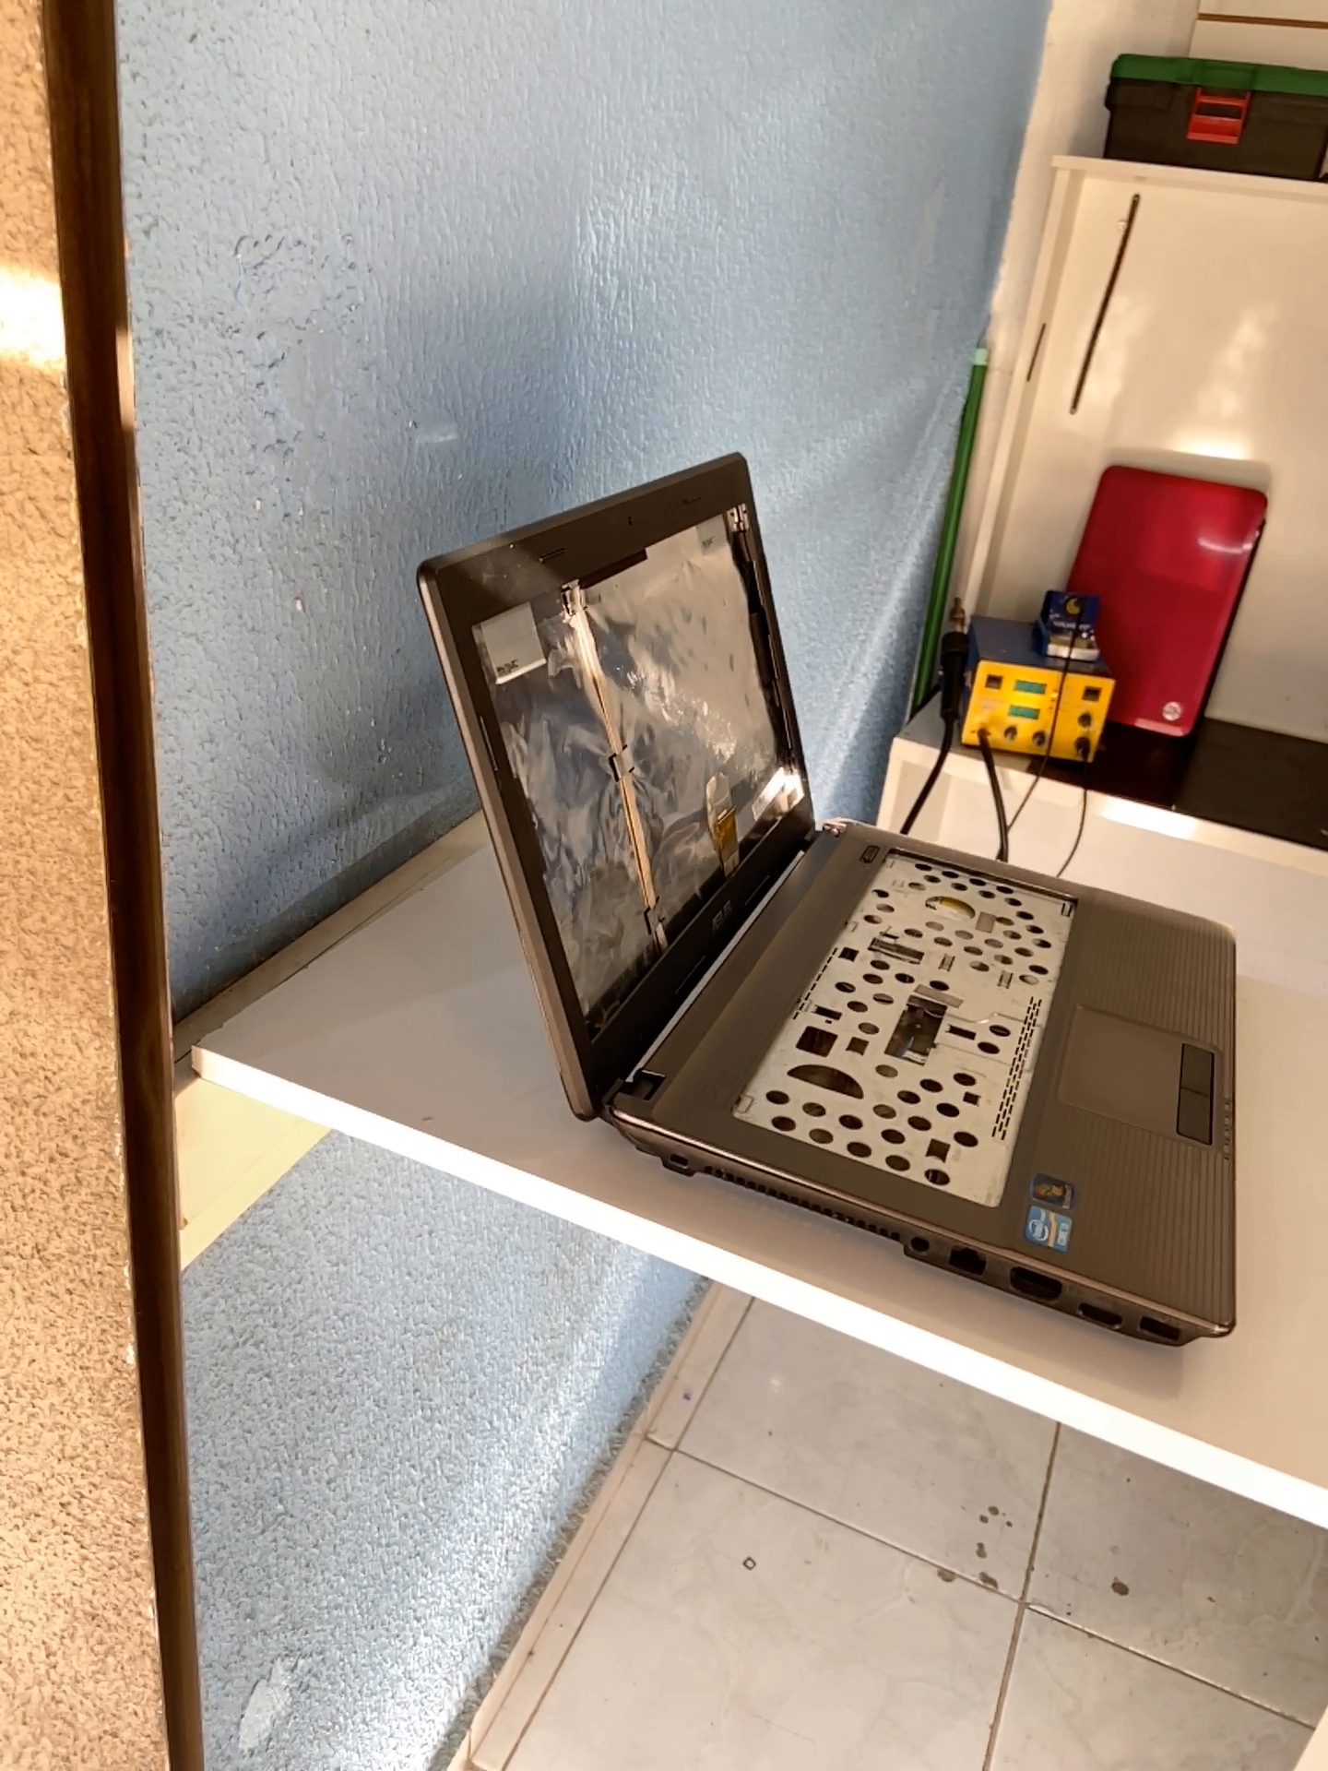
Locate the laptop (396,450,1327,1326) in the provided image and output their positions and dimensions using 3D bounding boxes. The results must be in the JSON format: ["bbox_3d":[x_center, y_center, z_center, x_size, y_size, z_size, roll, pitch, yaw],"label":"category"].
[{"bbox_3d":[0.116,-0.045,0.615,0.327,0.202,0.338,16,27,16],"label":"laptop"}]
